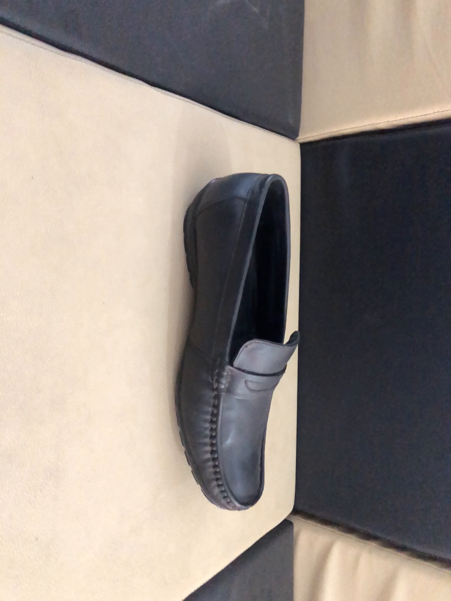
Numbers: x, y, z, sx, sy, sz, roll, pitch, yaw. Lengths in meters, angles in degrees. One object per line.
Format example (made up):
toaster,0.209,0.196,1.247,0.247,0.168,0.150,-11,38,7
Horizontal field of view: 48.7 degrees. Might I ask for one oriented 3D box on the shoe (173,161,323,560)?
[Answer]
shoe,0.021,0.043,0.424,0.101,0.079,0.290,-2,94,-52
